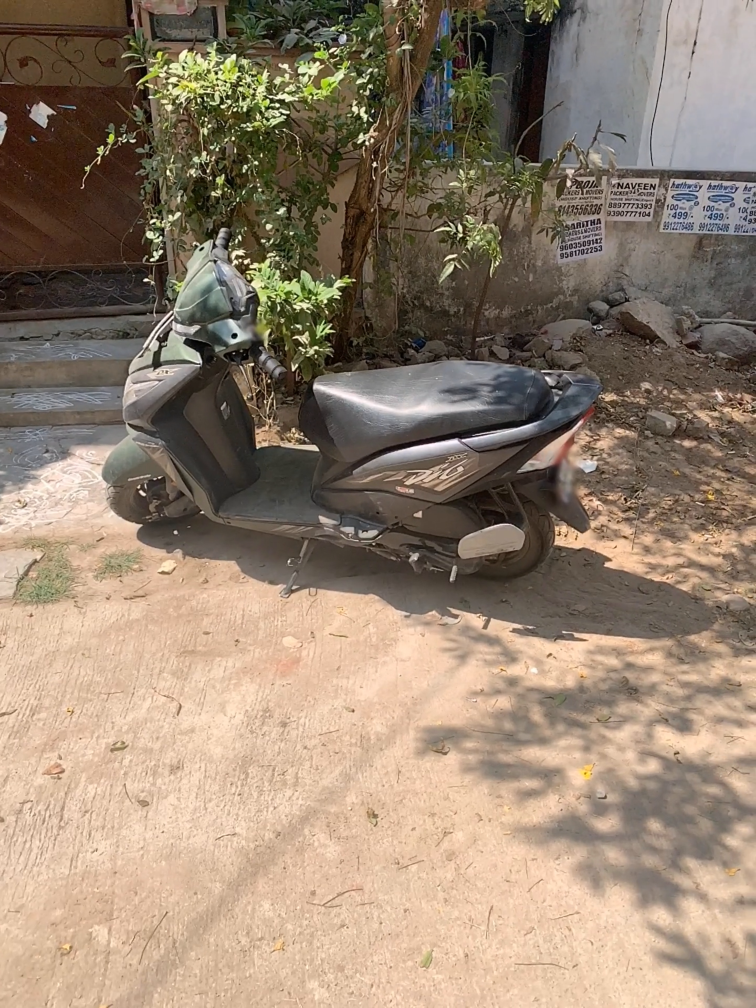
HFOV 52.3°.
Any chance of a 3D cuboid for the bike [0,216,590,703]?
[{"bbox_3d":[-0.228,-0.153,2.322,1.528,1.174,0.627,6,28,6],"label":"bike"}]
